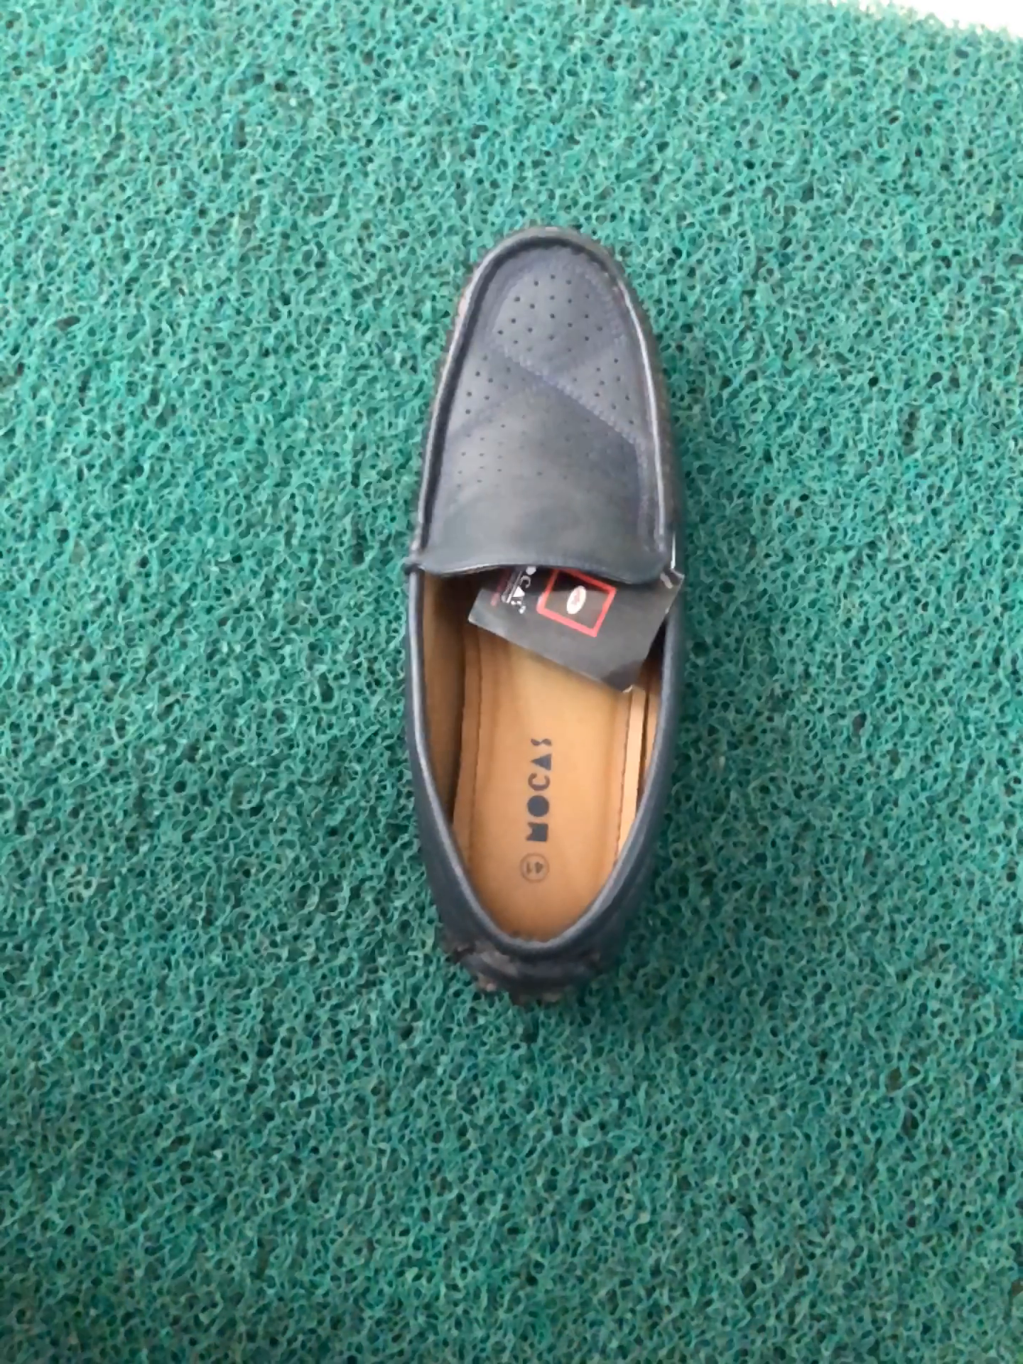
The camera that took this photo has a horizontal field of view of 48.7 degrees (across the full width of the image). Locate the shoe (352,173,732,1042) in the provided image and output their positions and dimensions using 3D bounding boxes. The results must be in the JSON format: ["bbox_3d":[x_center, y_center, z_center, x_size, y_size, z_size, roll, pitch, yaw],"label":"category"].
[{"bbox_3d":[0.014,-0.028,0.395,0.100,0.070,0.280,5,78,0],"label":"shoe"}]
